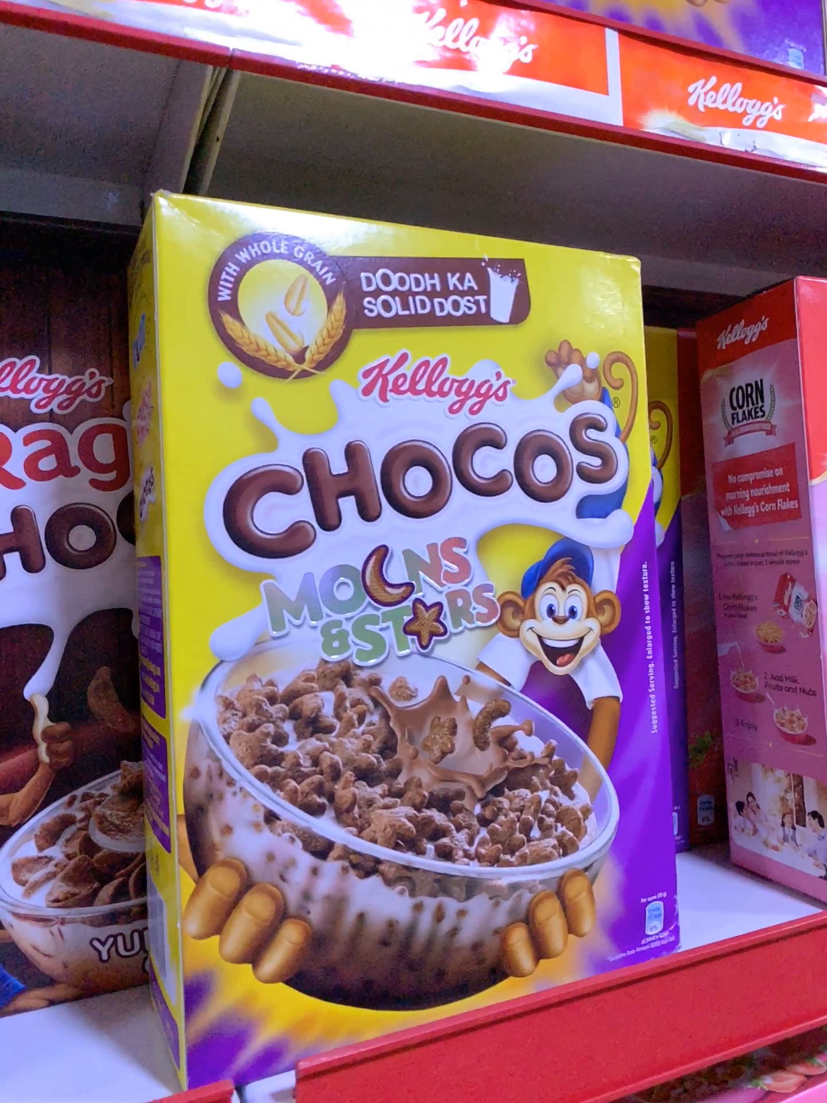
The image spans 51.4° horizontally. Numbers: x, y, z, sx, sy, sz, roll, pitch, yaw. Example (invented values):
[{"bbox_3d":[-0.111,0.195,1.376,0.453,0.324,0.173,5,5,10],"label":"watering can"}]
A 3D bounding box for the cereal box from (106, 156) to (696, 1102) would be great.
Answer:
[{"bbox_3d":[0.000,0.021,0.285,0.180,0.250,0.060,-2,-1,-26],"label":"cereal box"}]
